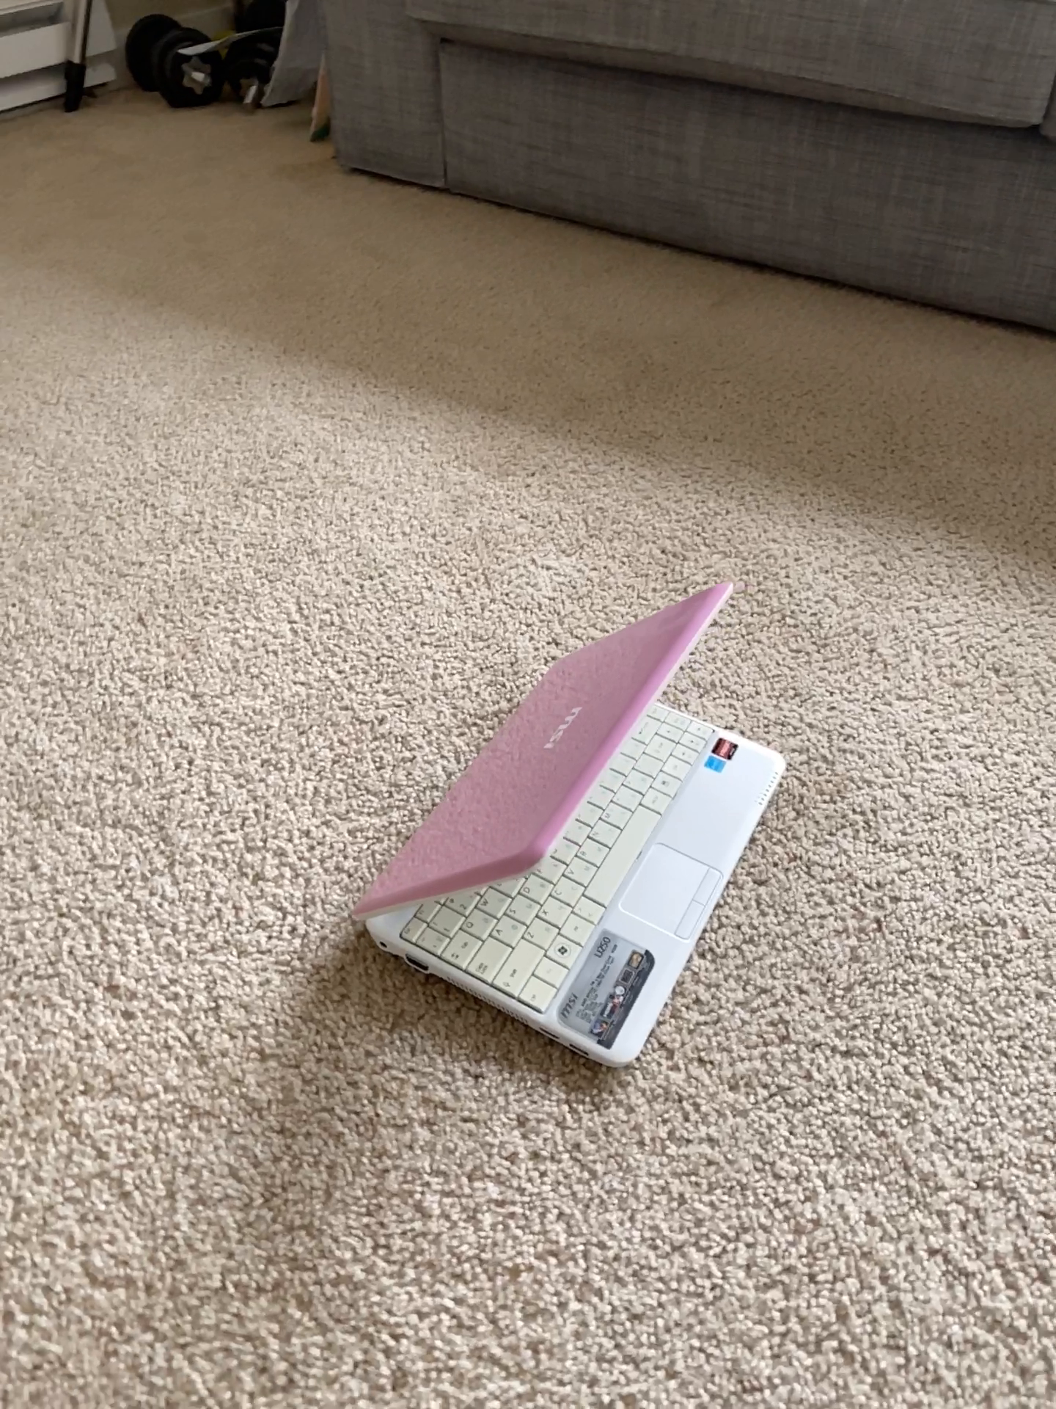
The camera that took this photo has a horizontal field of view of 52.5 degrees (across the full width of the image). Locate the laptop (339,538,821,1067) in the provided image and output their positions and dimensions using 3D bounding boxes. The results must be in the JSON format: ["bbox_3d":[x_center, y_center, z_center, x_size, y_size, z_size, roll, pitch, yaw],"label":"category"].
[{"bbox_3d":[0.047,0.045,0.711,0.193,0.125,0.291,22,47,19],"label":"laptop"}]
